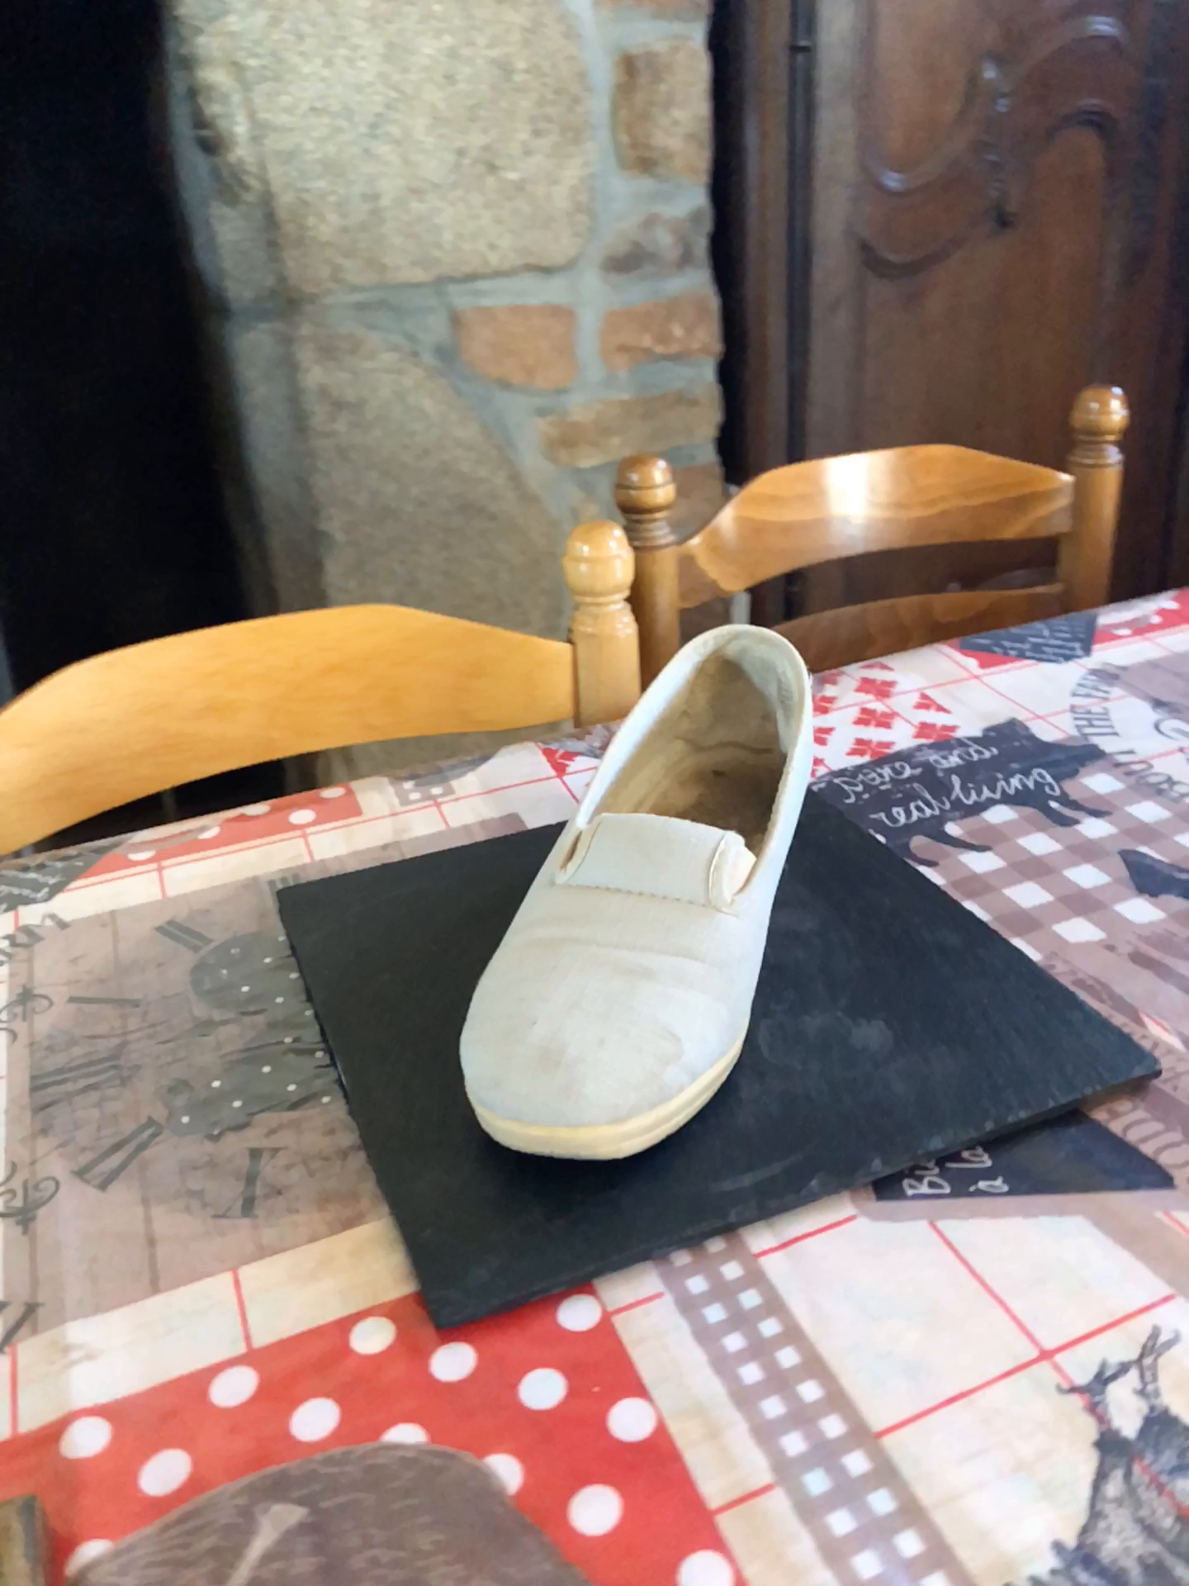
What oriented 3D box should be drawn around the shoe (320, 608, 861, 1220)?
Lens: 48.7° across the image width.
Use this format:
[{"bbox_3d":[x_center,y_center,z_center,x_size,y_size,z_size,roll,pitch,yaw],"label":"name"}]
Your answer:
[{"bbox_3d":[0.019,0.017,0.448,0.100,0.080,0.252,6,27,19],"label":"shoe"}]
